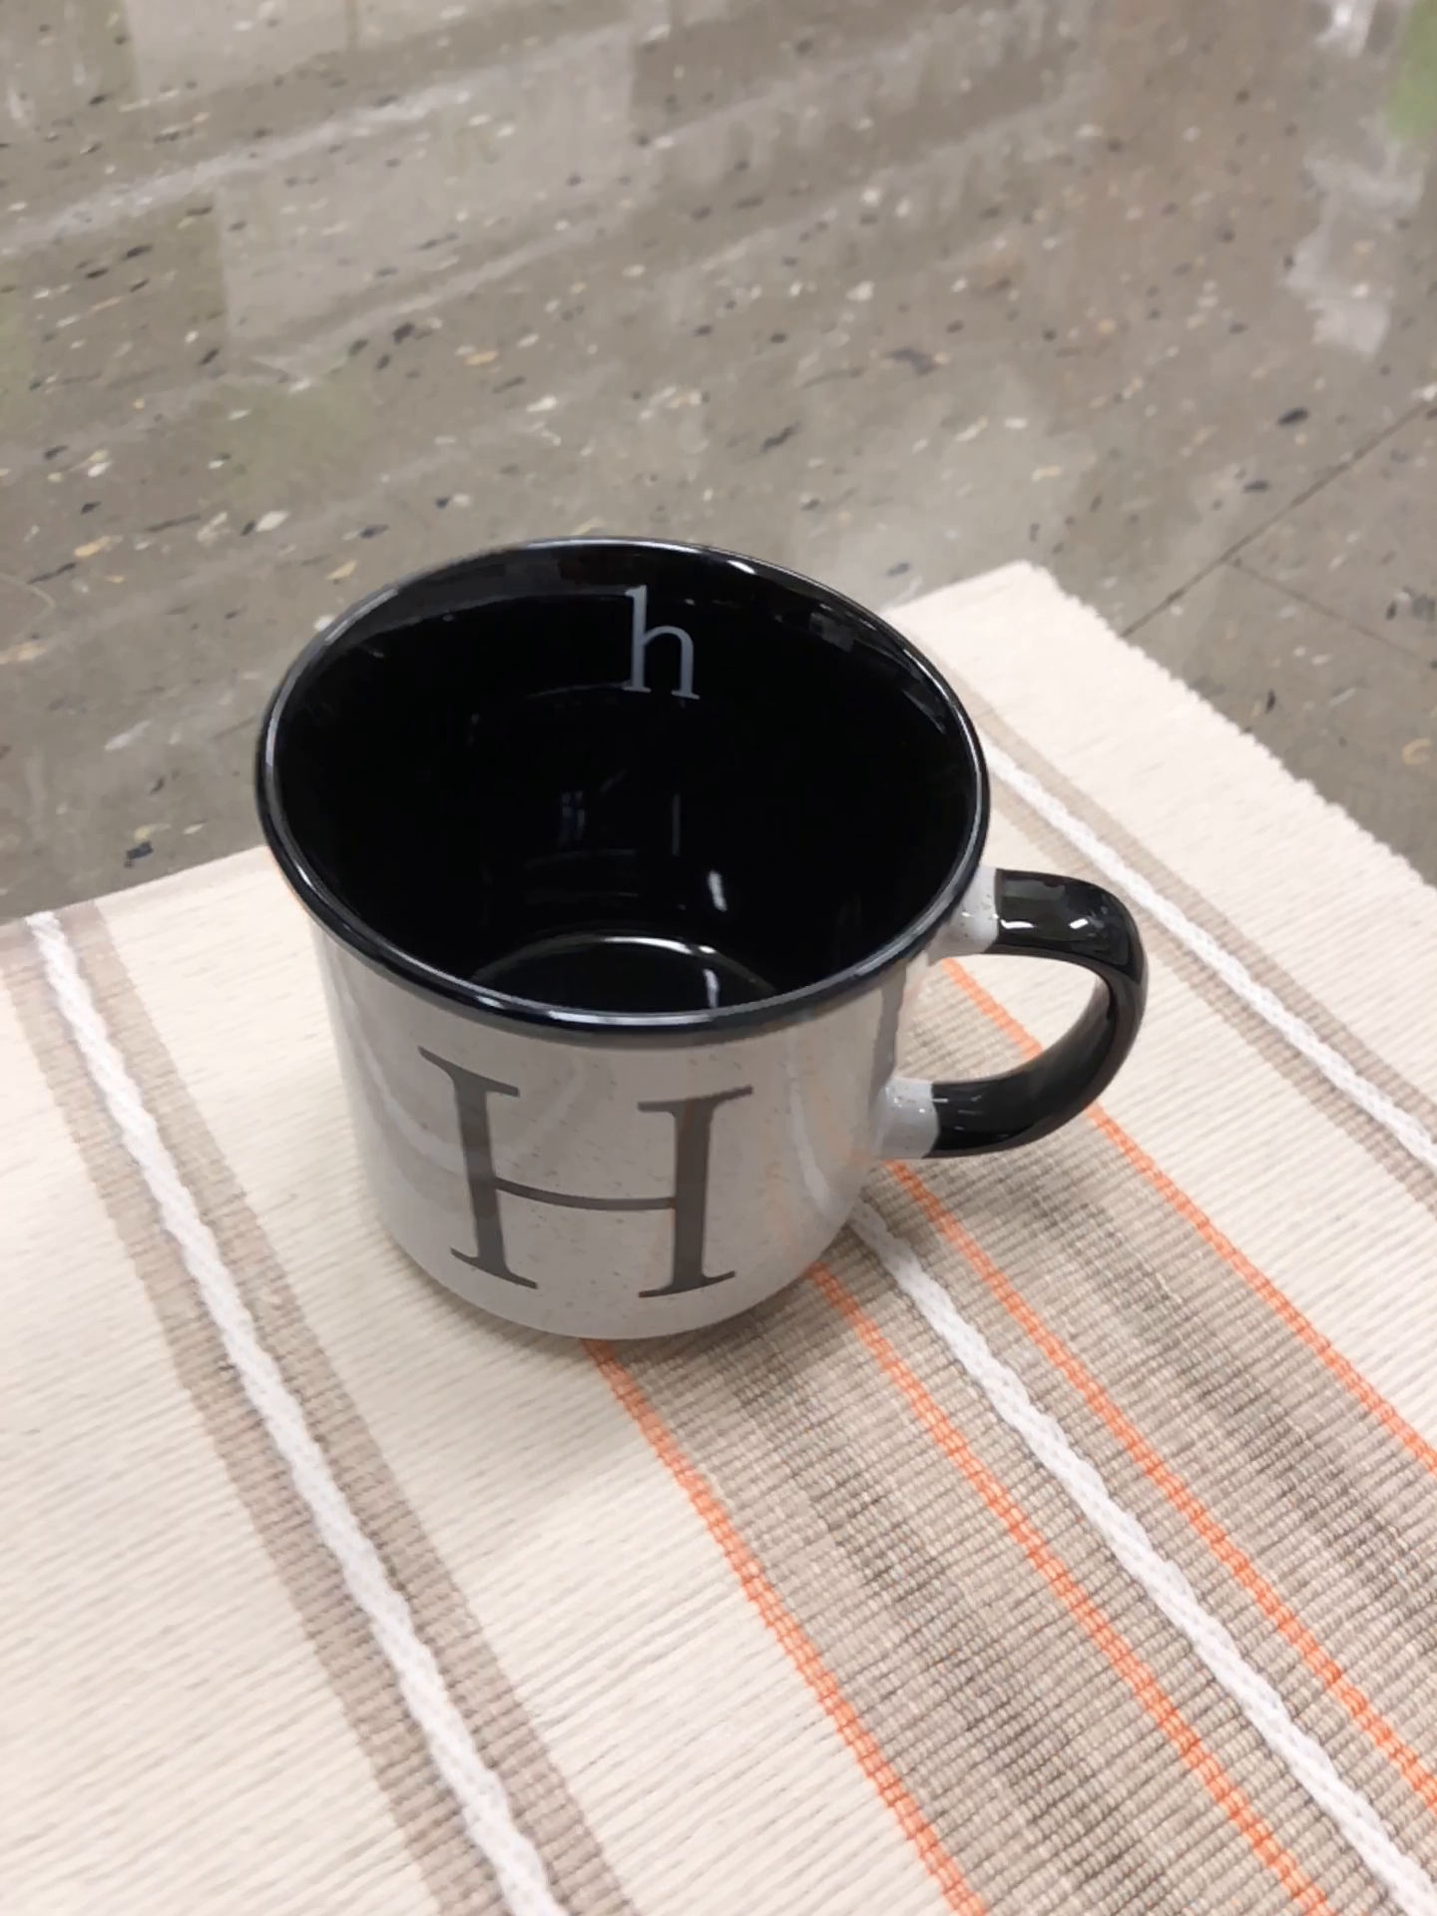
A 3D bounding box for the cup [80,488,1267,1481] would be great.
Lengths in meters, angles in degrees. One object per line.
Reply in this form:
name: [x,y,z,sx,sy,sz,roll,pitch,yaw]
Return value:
cup: [-0.003,0.004,0.258,0.140,0.100,0.100,8,48,3]
